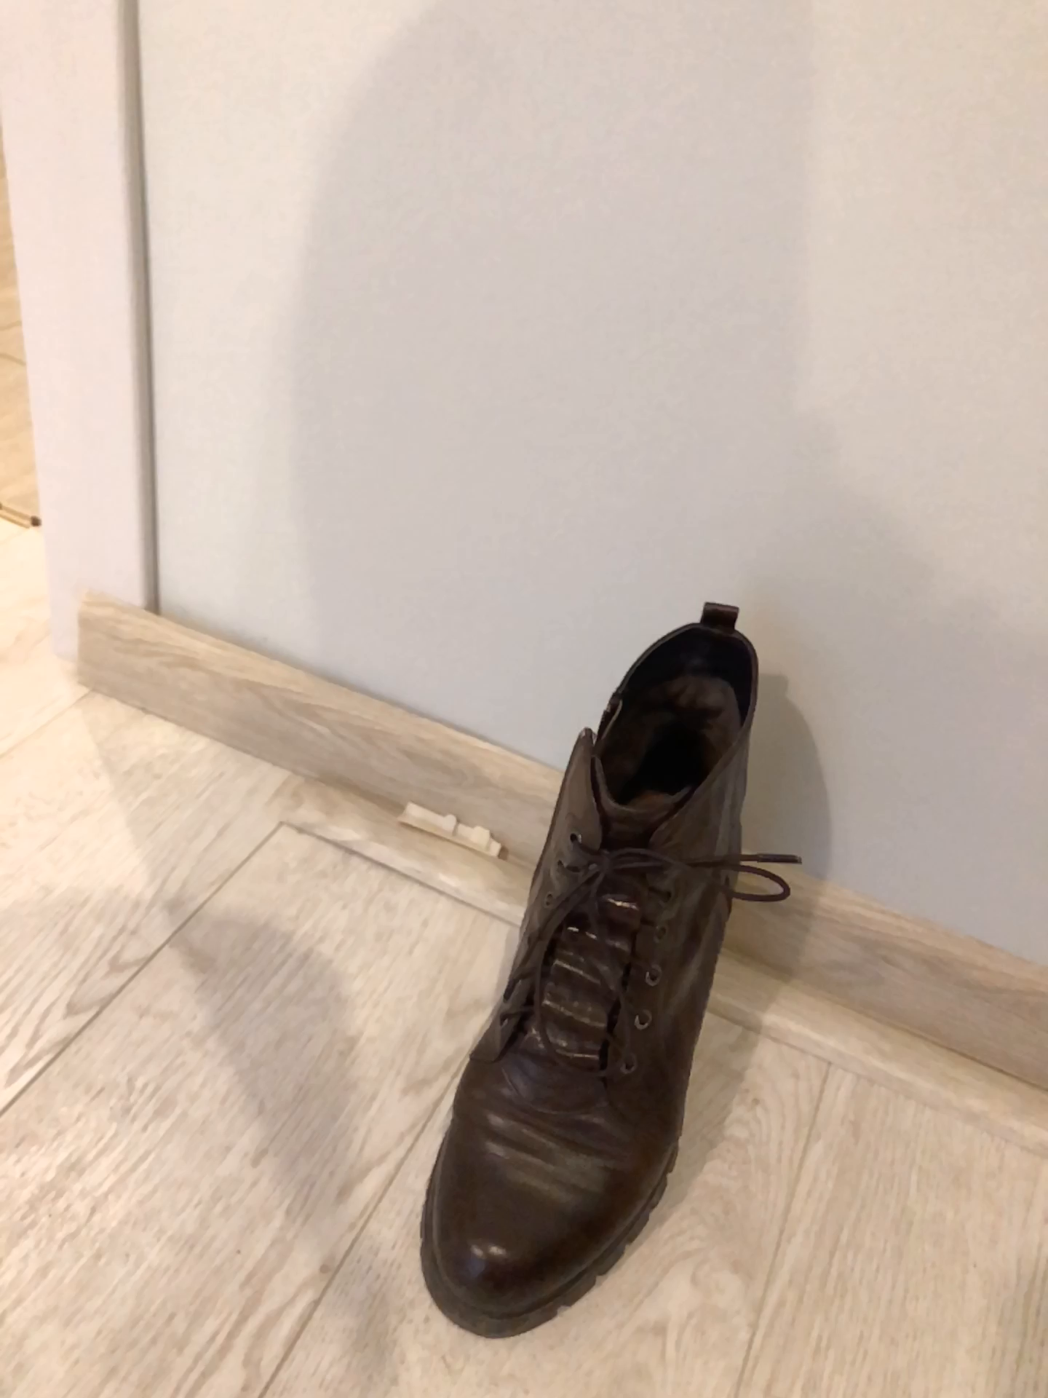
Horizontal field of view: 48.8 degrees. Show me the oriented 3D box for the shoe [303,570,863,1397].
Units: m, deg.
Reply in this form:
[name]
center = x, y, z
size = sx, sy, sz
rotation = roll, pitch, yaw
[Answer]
[shoe]
center = 0.035, 0.113, 0.462
size = 0.100, 0.179, 0.262
rotation = 19, 56, 14
